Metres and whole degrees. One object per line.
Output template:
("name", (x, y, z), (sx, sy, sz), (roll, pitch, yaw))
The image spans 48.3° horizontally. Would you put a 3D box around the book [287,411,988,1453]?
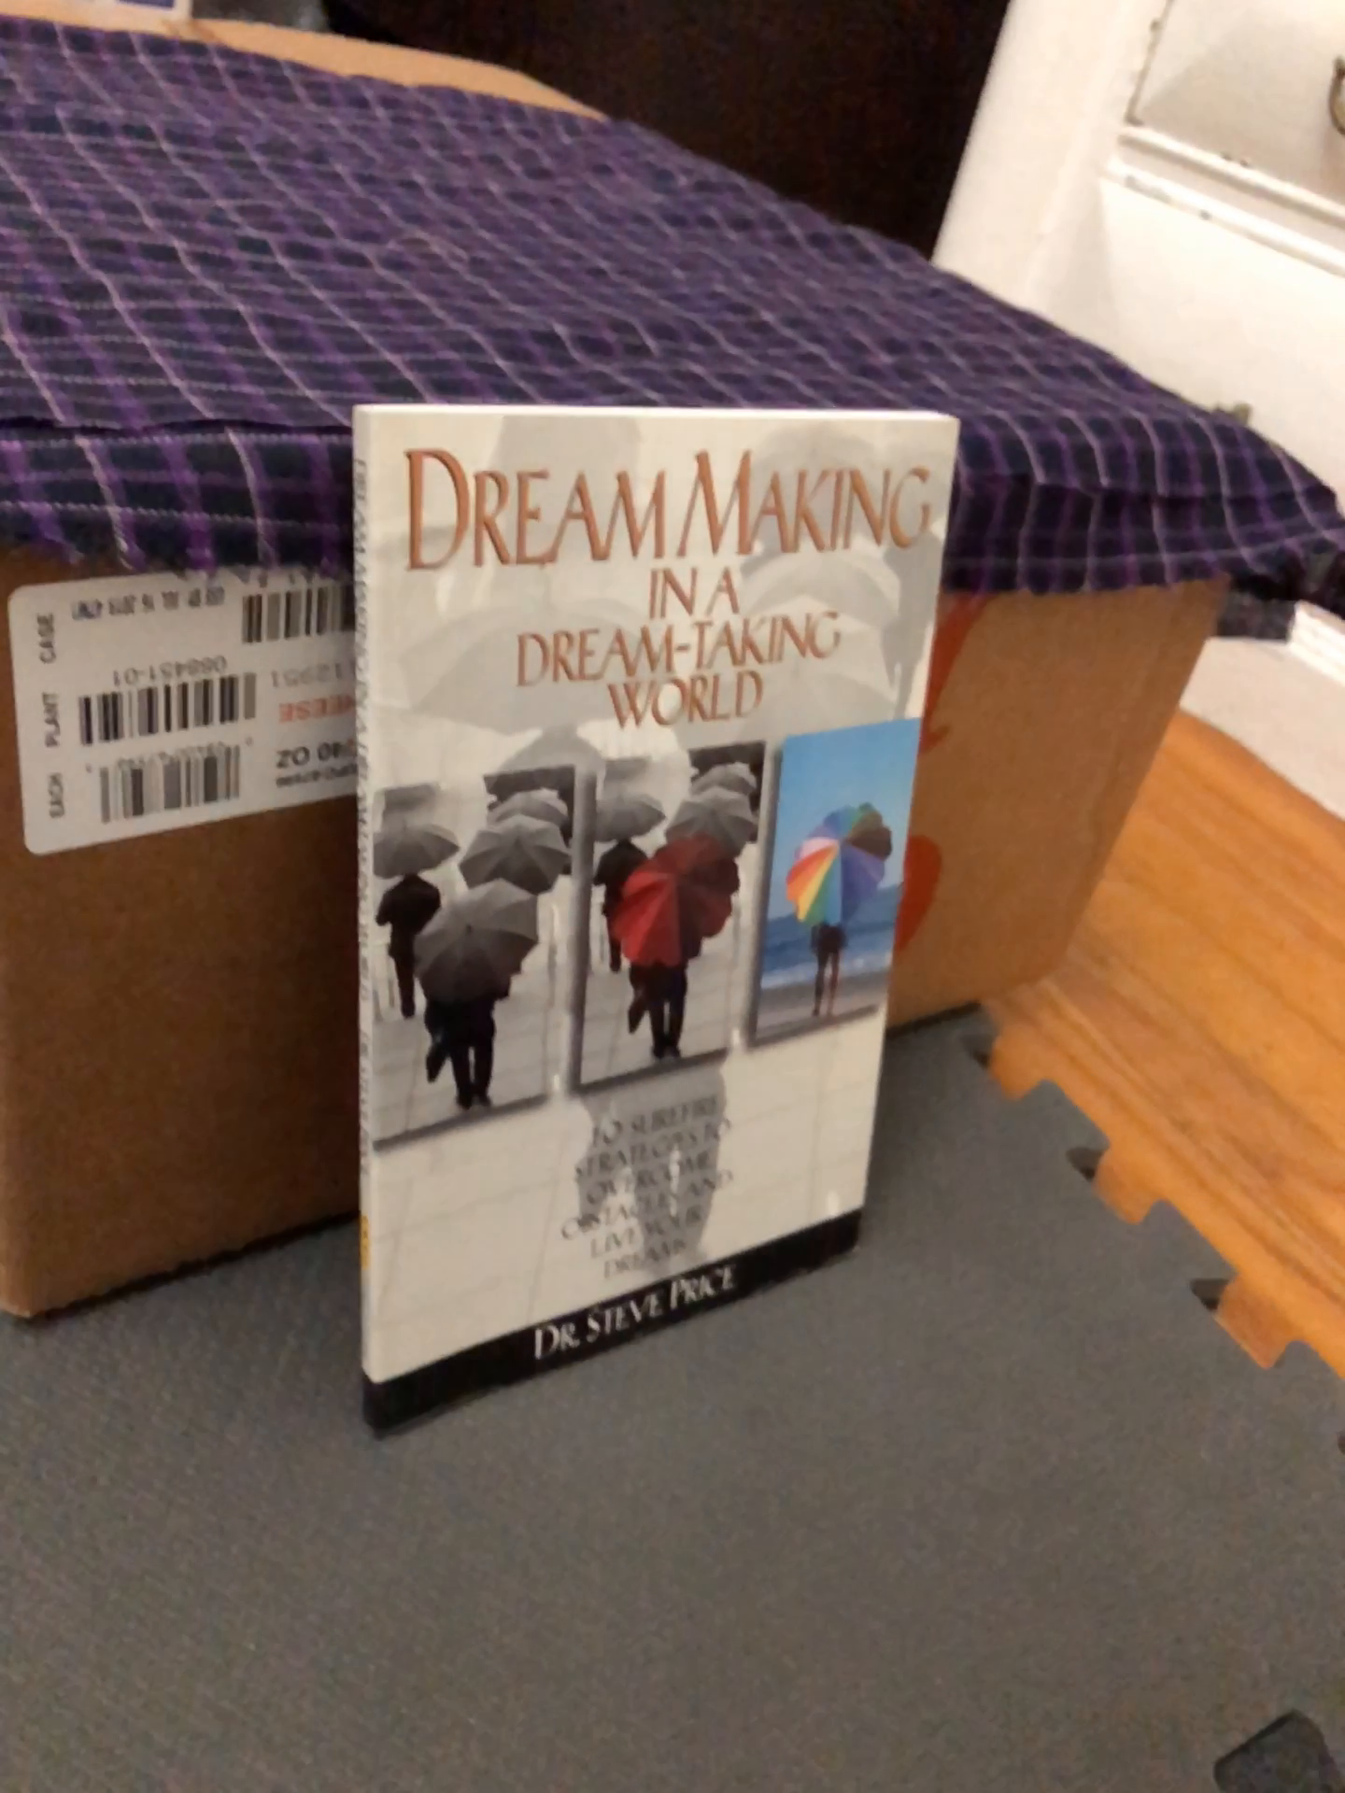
("book", (-0.005, 0.006, 0.338), (0.150, 0.219, 0.020), (-11, 26, -31))
